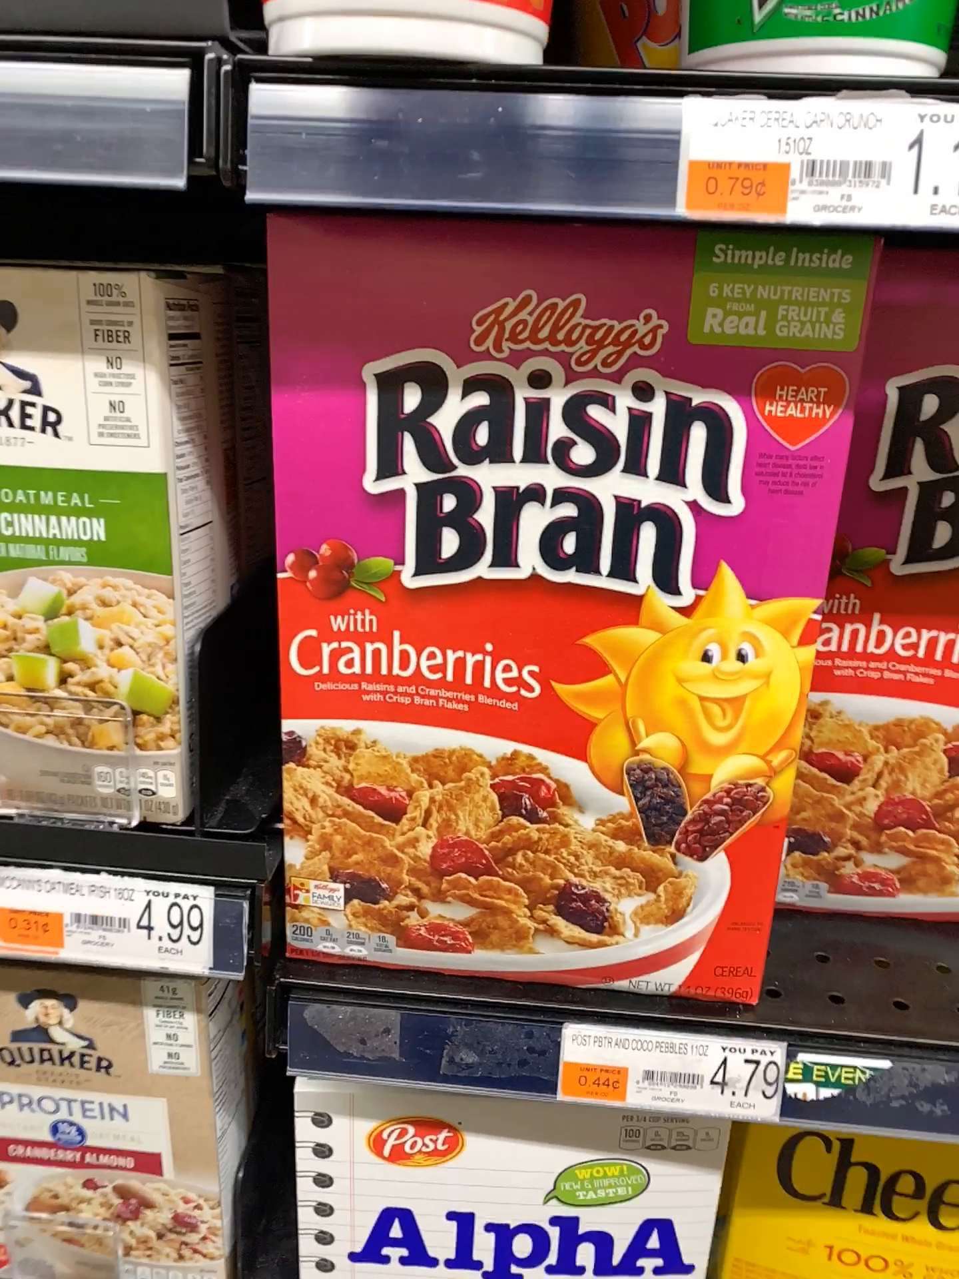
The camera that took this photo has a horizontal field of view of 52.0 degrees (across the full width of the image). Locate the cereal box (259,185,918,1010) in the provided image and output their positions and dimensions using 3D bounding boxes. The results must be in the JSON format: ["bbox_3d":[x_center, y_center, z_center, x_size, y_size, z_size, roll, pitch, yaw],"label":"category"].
[{"bbox_3d":[0.027,-0.009,0.375,0.200,0.289,0.060,4,19,5],"label":"cereal box"}]
